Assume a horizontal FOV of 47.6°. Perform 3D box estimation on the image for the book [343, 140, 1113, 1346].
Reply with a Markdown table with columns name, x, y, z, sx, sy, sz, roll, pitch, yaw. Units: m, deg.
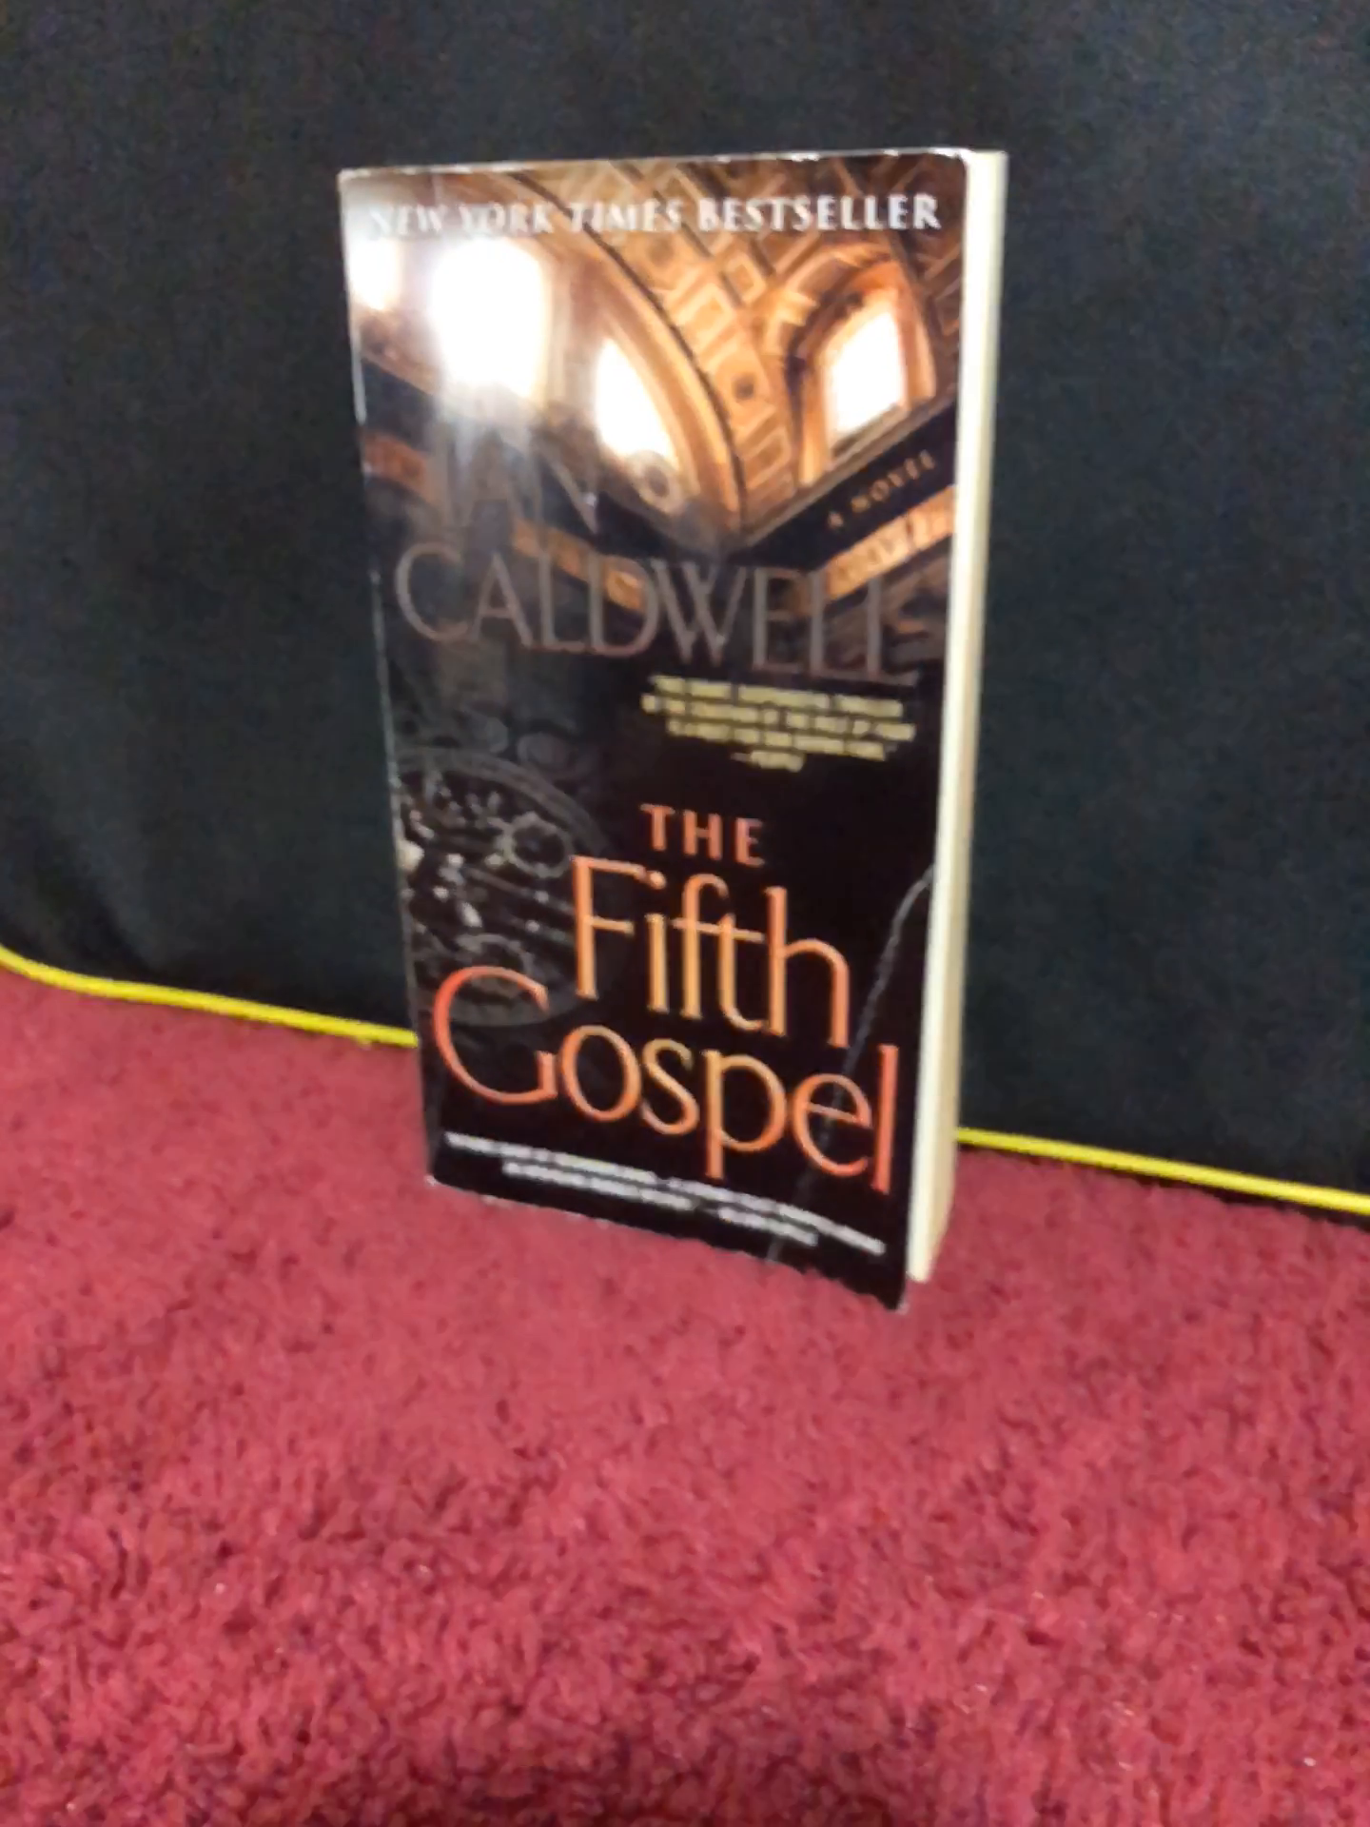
| name | x | y | z | sx | sy | sz | roll | pitch | yaw |
| --- | --- | --- | --- | --- | --- | --- | --- | --- | --- |
| book | 0.006 | -0.032 | 0.297 | 0.120 | 0.199 | 0.050 | 11 | 24 | 27 |
